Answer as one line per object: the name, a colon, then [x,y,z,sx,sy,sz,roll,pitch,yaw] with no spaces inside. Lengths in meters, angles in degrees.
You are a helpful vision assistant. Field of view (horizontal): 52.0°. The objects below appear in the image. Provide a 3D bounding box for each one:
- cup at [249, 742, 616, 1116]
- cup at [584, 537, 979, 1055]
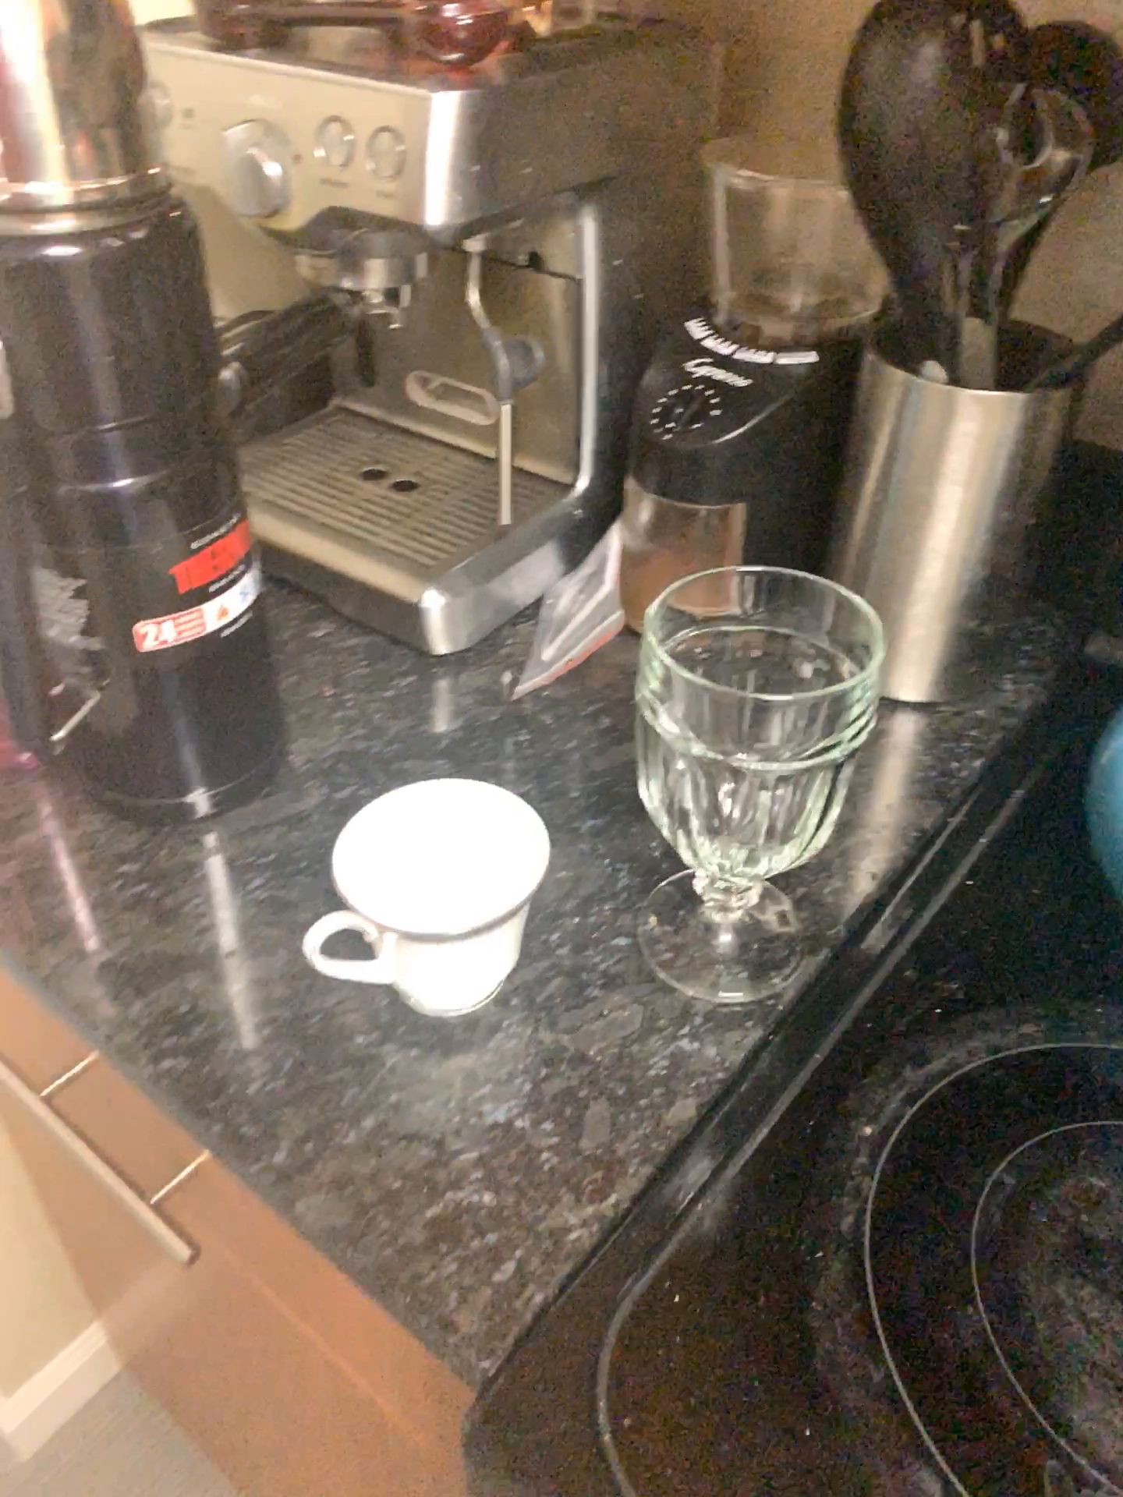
cup: [-0.053,0.071,0.487,0.110,0.070,0.100,1,39,0]
cup: [0.086,0.020,0.501,0.110,0.169,0.100,1,38,-1]
